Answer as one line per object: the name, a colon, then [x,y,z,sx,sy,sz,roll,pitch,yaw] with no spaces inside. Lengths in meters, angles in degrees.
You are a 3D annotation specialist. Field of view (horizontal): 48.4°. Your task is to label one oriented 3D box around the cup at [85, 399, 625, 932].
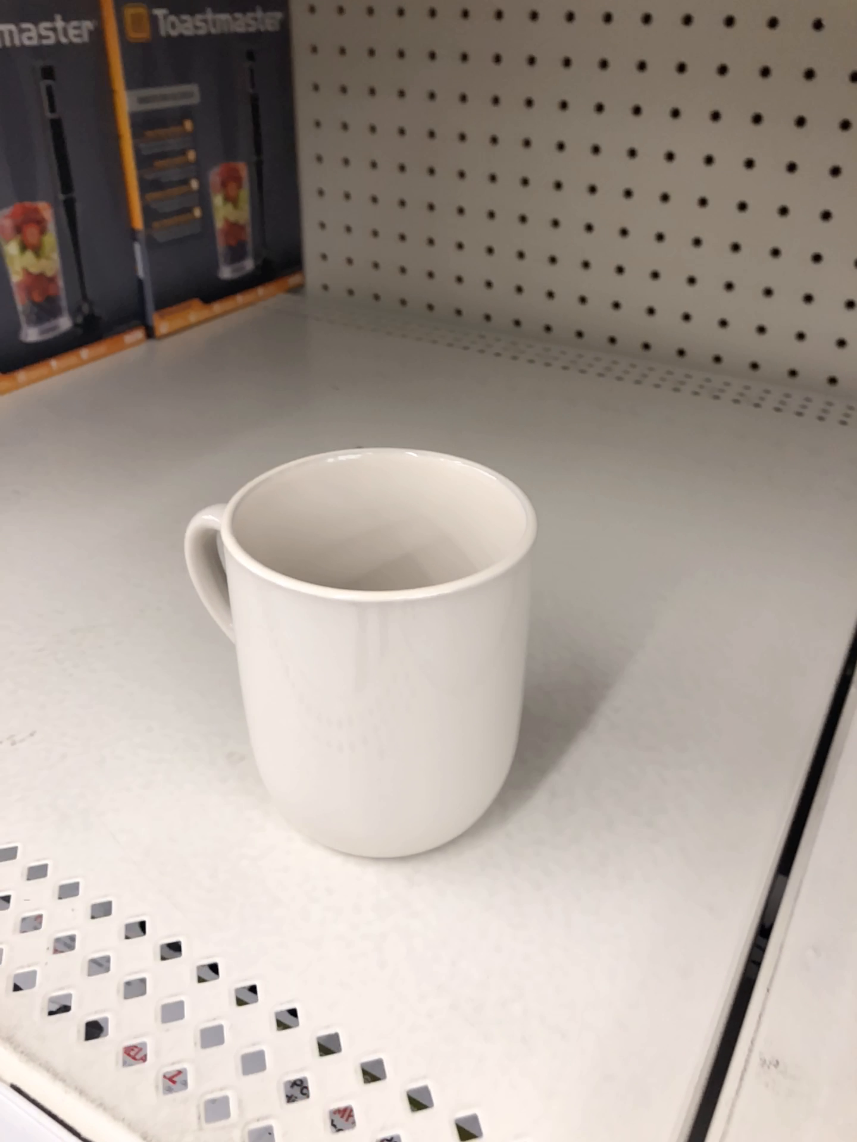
cup: [-0.022,0.017,0.284,0.122,0.090,0.086,22,36,31]
